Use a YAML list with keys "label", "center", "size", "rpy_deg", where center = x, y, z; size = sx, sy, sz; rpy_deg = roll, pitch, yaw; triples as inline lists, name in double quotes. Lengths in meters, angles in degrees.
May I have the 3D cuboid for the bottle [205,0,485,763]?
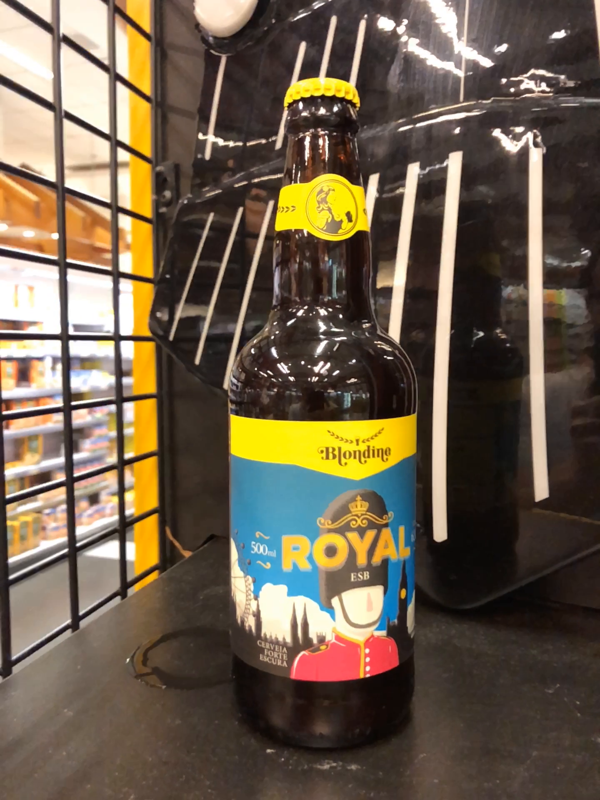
- label: "bottle"
  center: [0.011, -0.010, 0.246]
  size: [0.080, 0.240, 0.070]
  rpy_deg: [-1, 4, -18]
